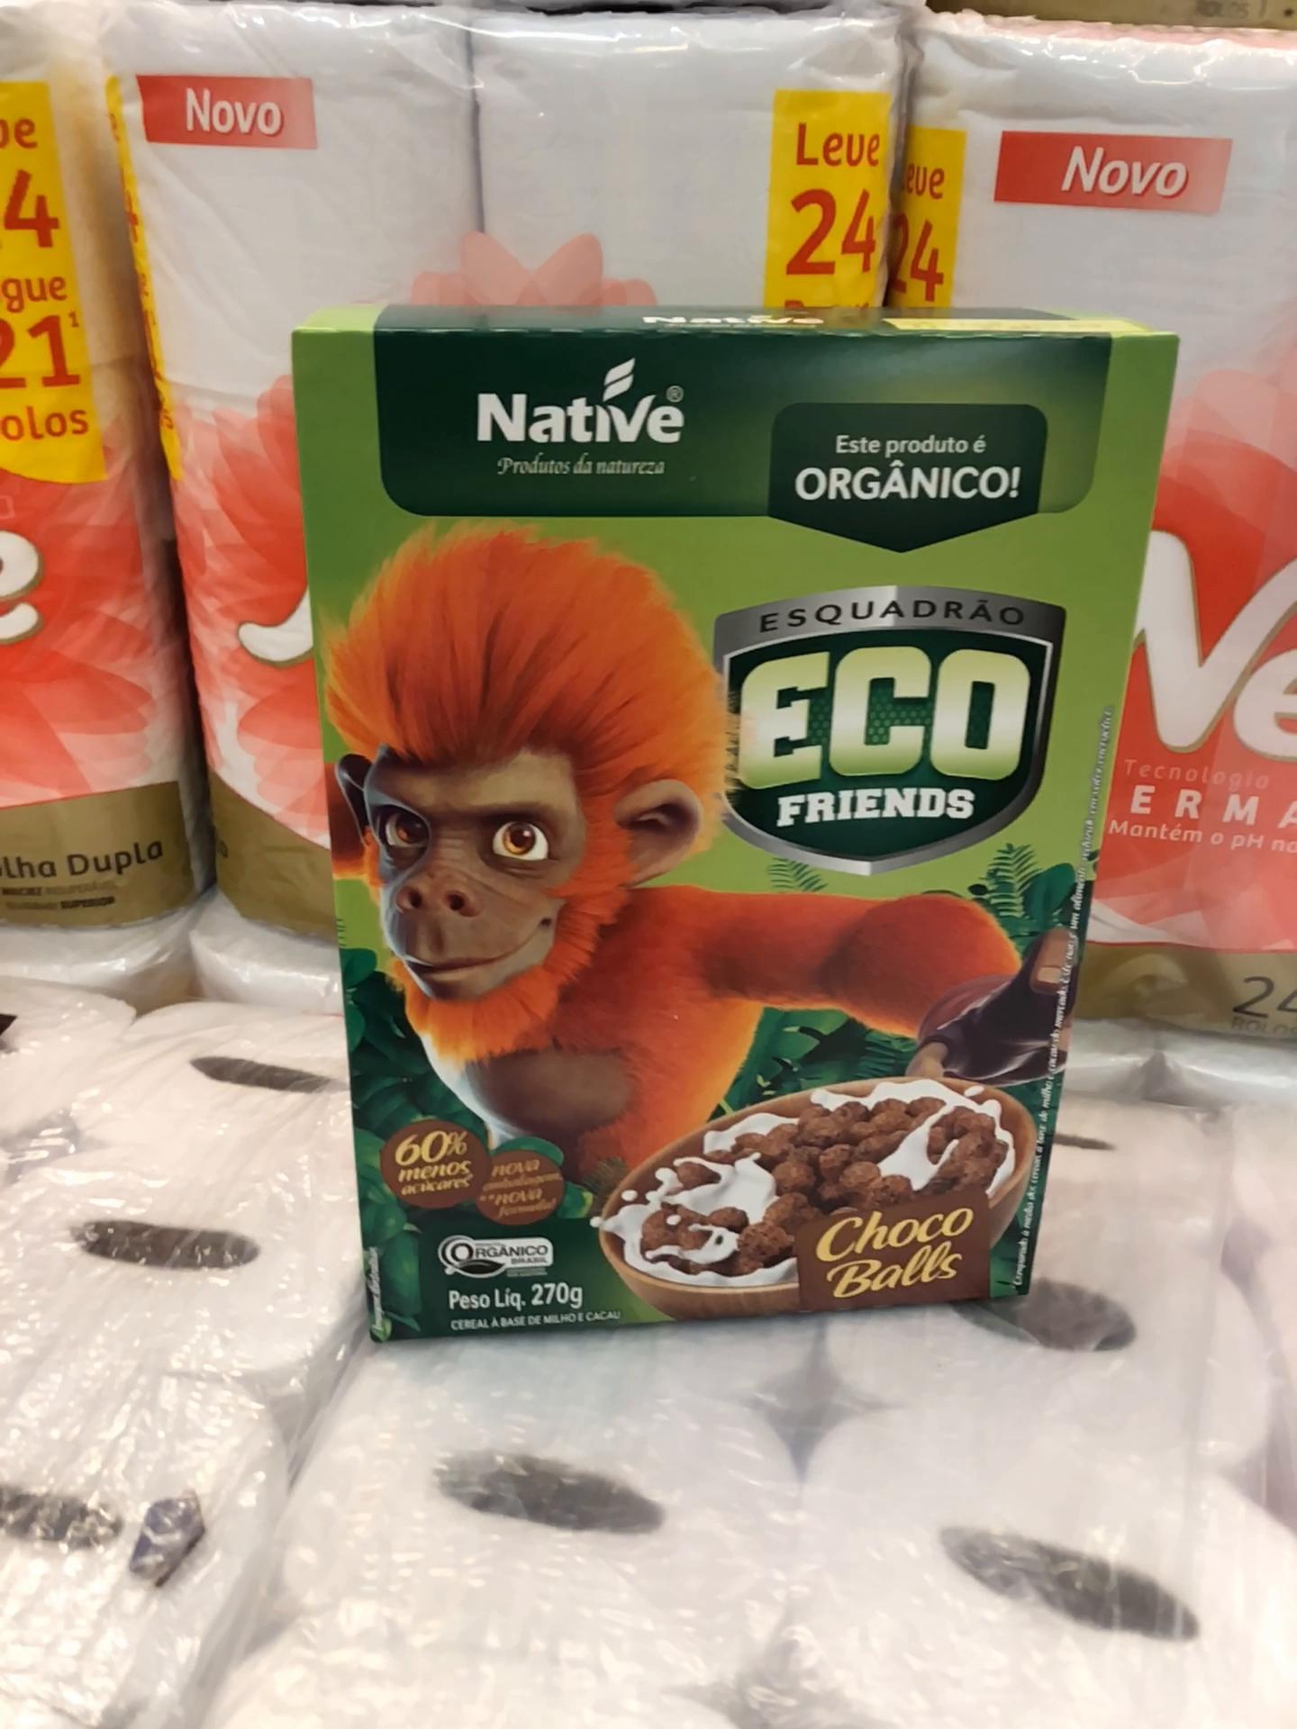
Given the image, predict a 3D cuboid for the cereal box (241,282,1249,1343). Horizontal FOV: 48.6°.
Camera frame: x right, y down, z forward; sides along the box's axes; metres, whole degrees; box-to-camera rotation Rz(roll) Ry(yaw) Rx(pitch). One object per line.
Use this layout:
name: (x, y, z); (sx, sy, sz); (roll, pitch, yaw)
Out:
cereal box: (0.015, -0.007, 0.327); (0.180, 0.228, 0.060); (-1, 24, -5)
